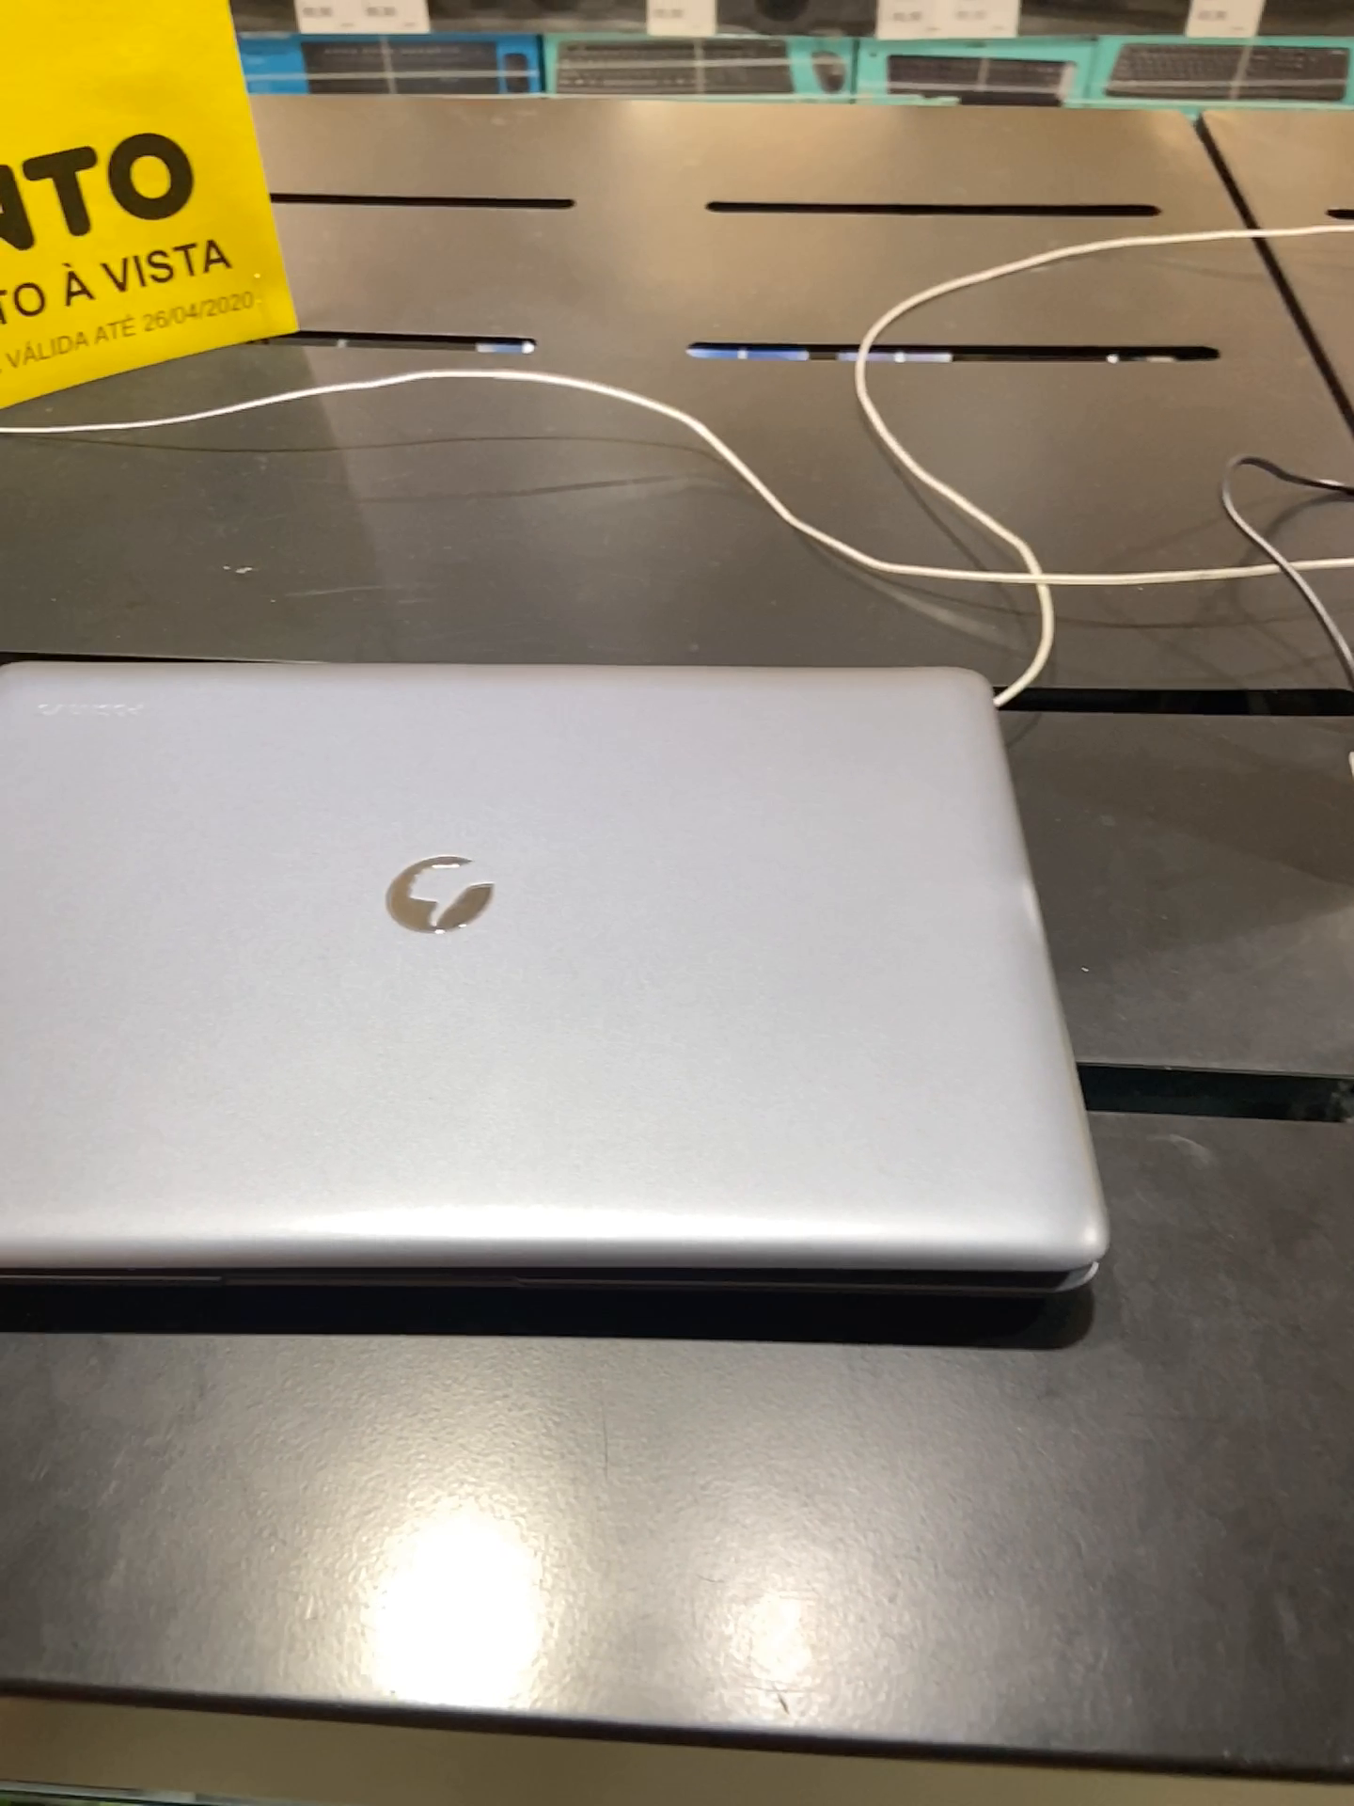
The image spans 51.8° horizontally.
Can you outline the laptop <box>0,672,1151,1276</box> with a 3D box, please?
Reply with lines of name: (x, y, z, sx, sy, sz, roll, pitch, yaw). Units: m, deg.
laptop: (-0.057, 0.003, 0.383, 0.329, 0.001, 0.214, 1, 46, 2)
